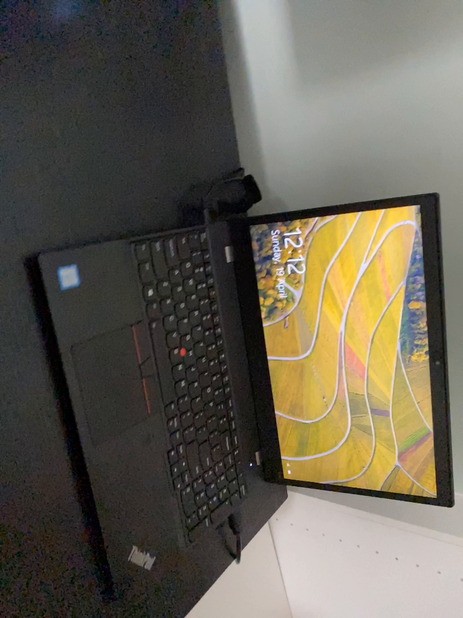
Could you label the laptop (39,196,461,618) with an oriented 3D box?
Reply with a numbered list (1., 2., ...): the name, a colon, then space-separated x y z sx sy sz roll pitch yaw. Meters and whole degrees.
1. laptop: 0.052 0.092 0.469 0.295 0.231 0.351 -22 108 -48
